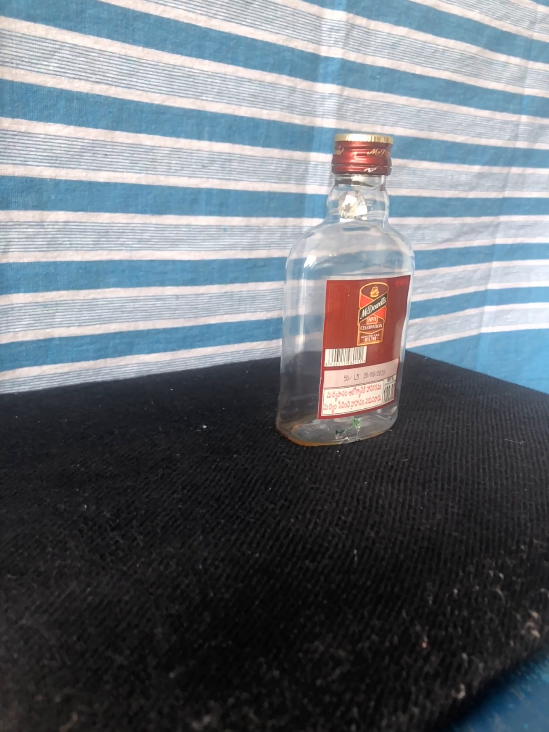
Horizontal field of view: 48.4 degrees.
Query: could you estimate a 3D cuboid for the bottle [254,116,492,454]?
[{"bbox_3d":[0.042,-0.035,0.270,0.080,0.129,0.040,-7,21,-37],"label":"bottle"}]
